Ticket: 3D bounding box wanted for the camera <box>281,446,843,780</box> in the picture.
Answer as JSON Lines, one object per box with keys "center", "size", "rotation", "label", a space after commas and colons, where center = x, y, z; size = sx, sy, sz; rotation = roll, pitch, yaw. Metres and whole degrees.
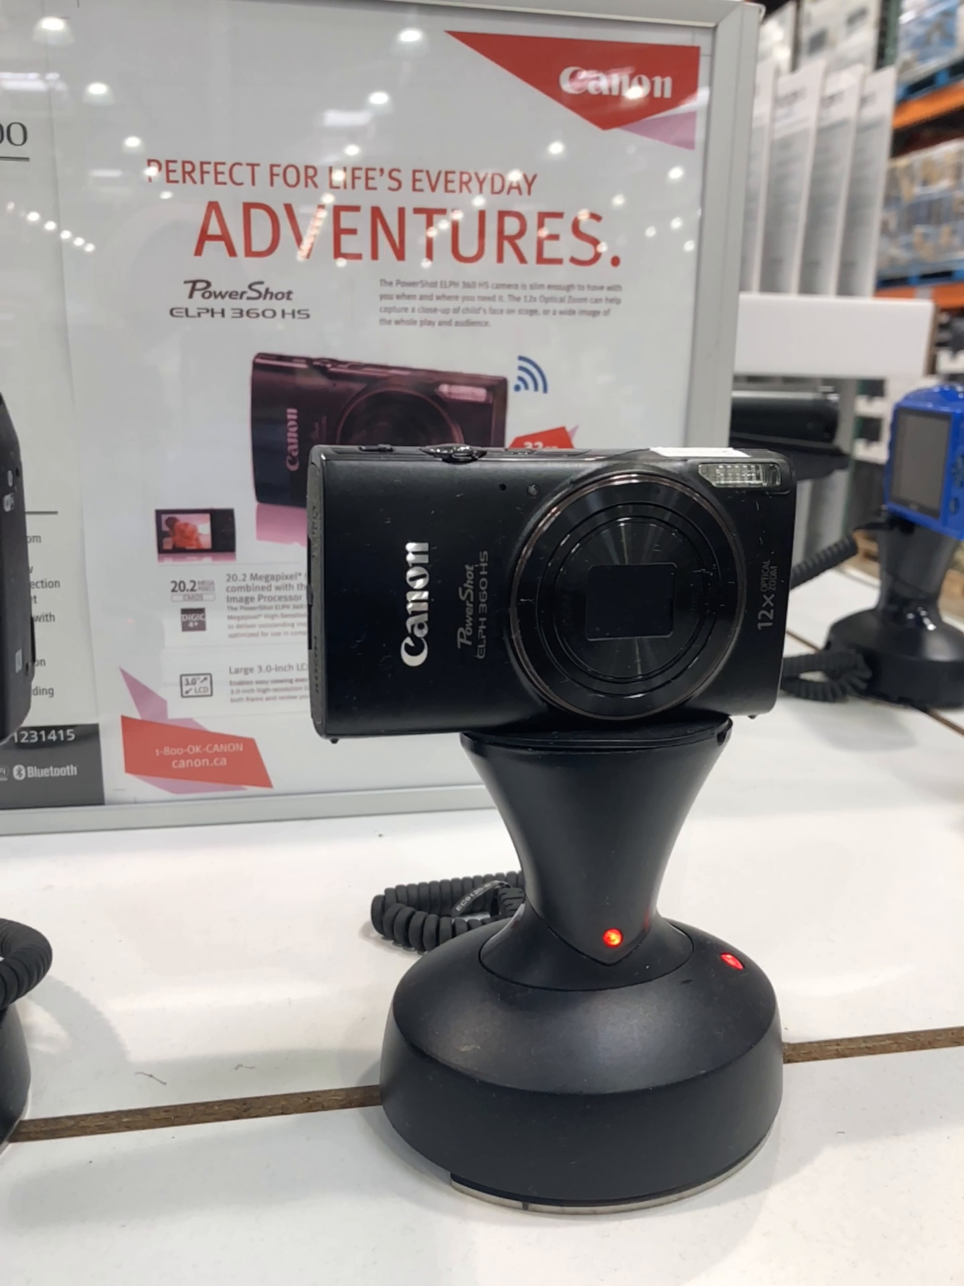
{"center": [0.015, -0.010, 0.232], "size": [0.110, 0.060, 0.040], "rotation": [-3, 15, -13], "label": "camera"}
